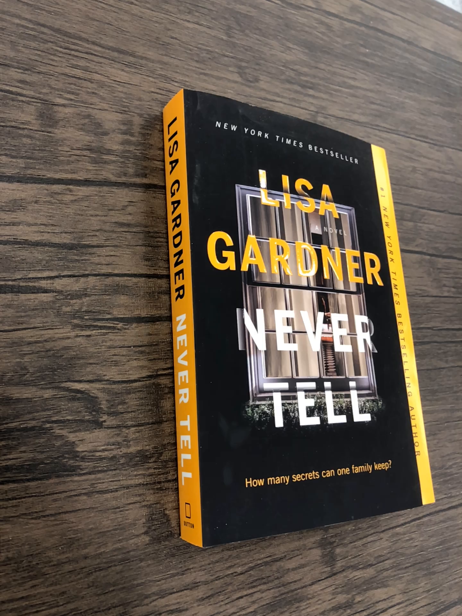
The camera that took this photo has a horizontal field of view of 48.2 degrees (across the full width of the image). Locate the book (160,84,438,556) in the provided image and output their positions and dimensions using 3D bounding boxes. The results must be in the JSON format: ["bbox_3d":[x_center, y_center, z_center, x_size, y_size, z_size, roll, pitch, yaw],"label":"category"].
[{"bbox_3d":[0.035,0.003,0.271,0.137,0.032,0.207,4,76,-31],"label":"book"}]
